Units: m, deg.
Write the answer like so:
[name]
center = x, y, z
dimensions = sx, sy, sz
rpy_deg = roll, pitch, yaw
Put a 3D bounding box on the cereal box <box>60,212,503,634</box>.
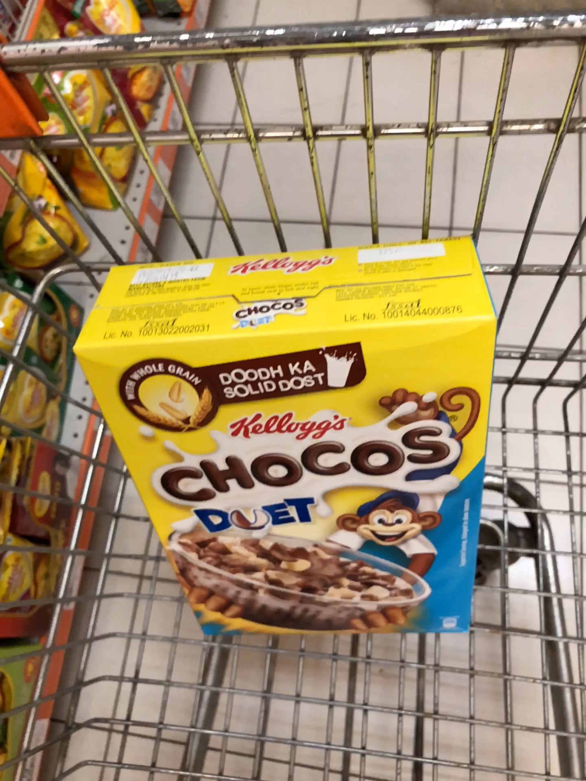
[cereal box]
center = 0.010, 0.041, 0.374
dimensions = 0.180, 0.259, 0.070
rpy_deg = -3, 42, 7
